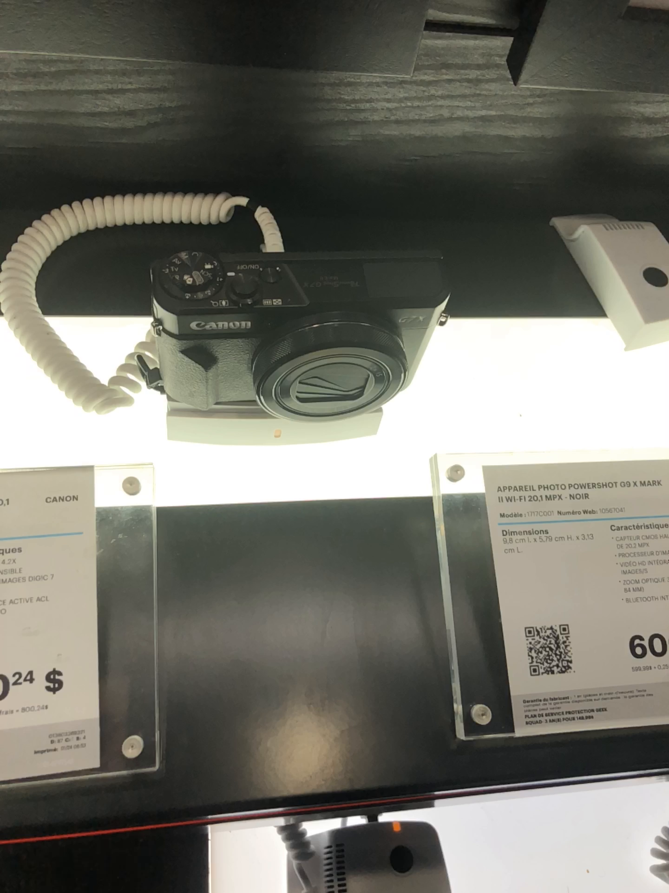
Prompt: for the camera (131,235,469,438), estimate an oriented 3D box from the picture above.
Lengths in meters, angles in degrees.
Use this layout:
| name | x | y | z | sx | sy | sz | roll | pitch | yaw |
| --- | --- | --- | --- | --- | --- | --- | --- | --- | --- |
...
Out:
| name | x | y | z | sx | sy | sz | roll | pitch | yaw |
| --- | --- | --- | --- | --- | --- | --- | --- | --- | --- |
| camera | -0.016 | -0.039 | 0.282 | 0.110 | 0.080 | 0.030 | -3 | 60 | -11 |
